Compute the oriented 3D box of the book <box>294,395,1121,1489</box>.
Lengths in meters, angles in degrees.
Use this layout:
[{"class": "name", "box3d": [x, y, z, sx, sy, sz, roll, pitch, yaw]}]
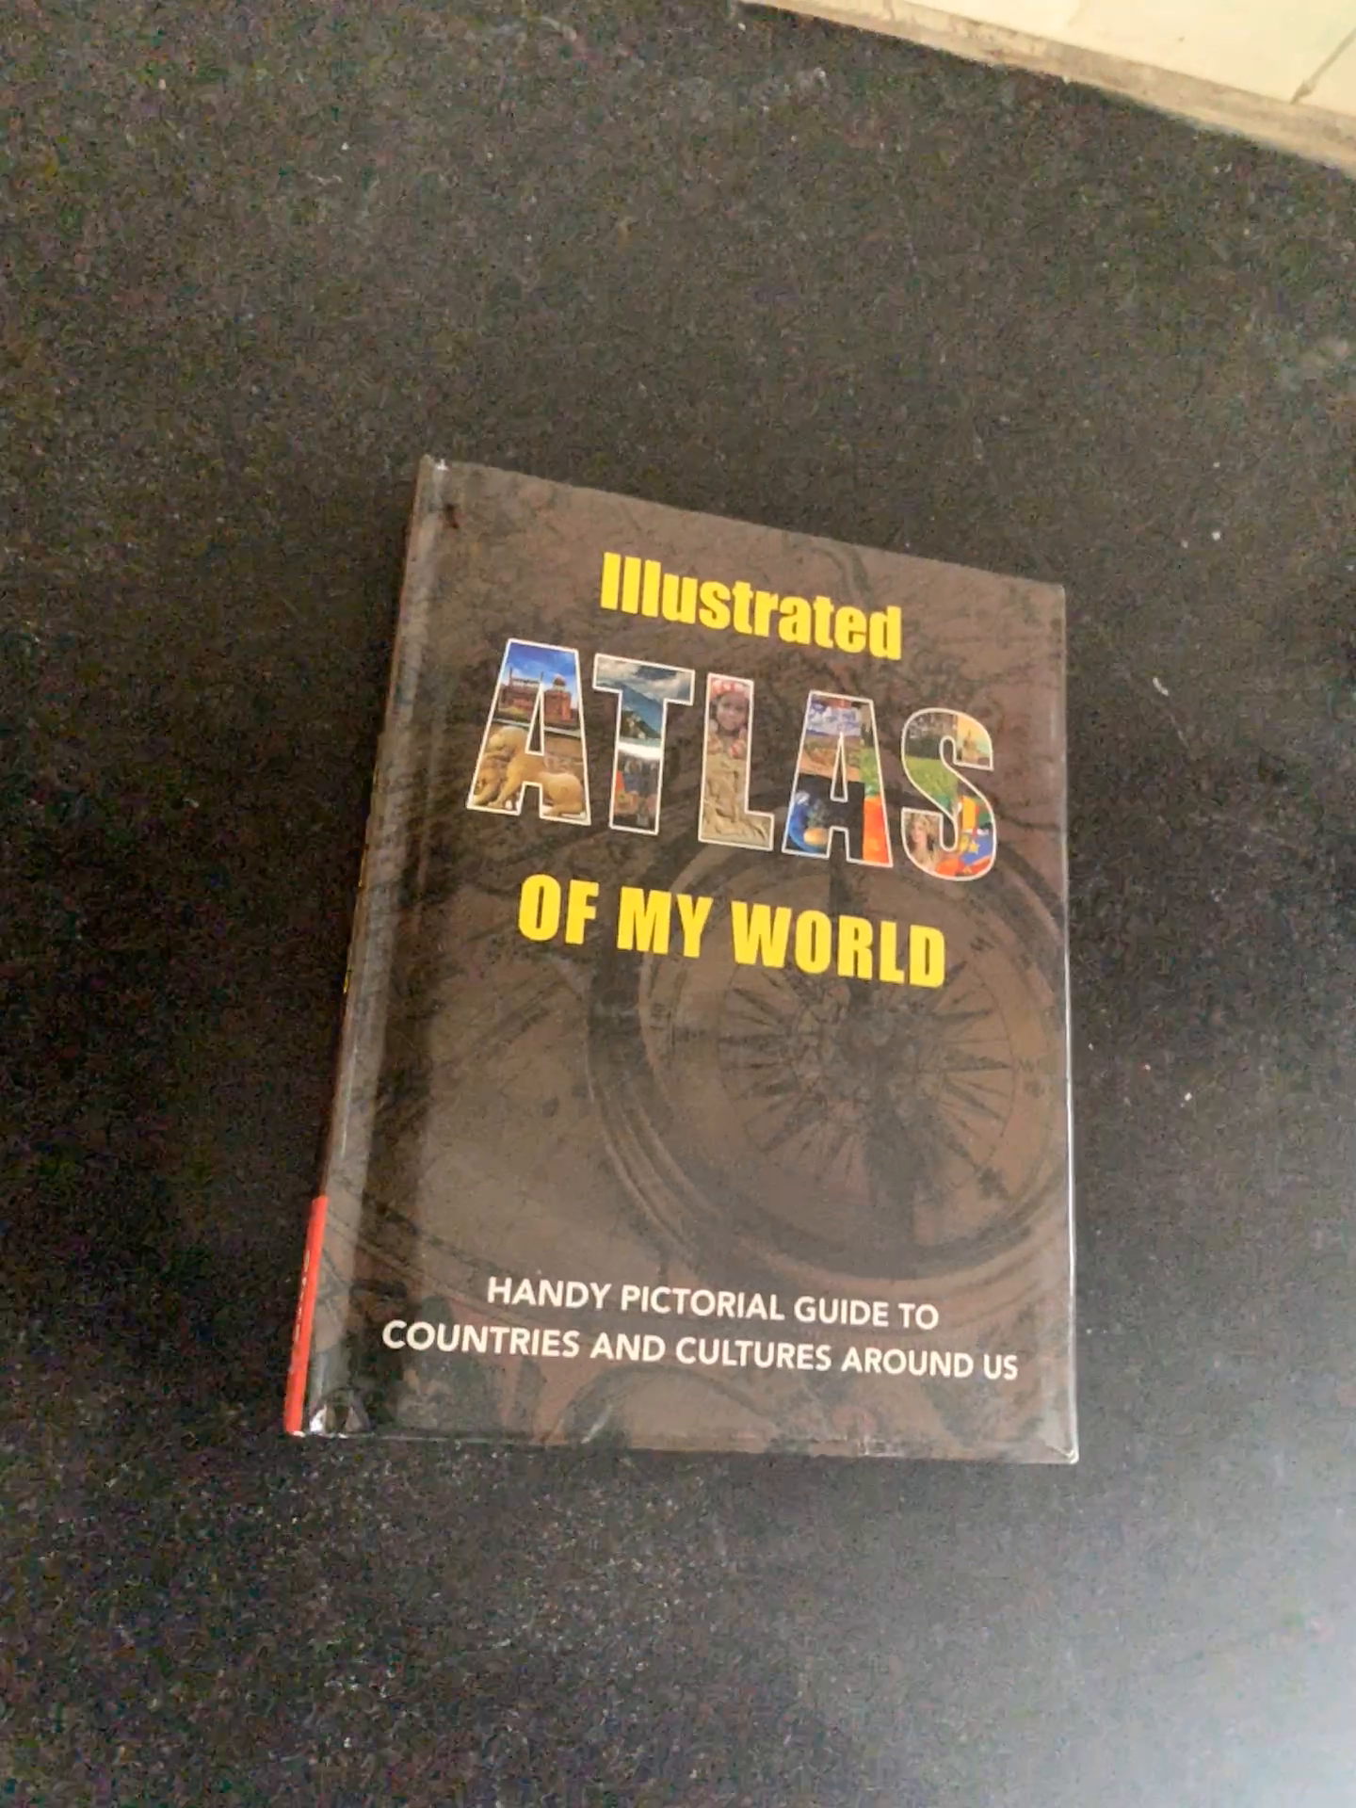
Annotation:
[{"class": "book", "box3d": [0.016, 0.009, 0.382, 0.200, 0.040, 0.271, 7, 73, -14]}]
